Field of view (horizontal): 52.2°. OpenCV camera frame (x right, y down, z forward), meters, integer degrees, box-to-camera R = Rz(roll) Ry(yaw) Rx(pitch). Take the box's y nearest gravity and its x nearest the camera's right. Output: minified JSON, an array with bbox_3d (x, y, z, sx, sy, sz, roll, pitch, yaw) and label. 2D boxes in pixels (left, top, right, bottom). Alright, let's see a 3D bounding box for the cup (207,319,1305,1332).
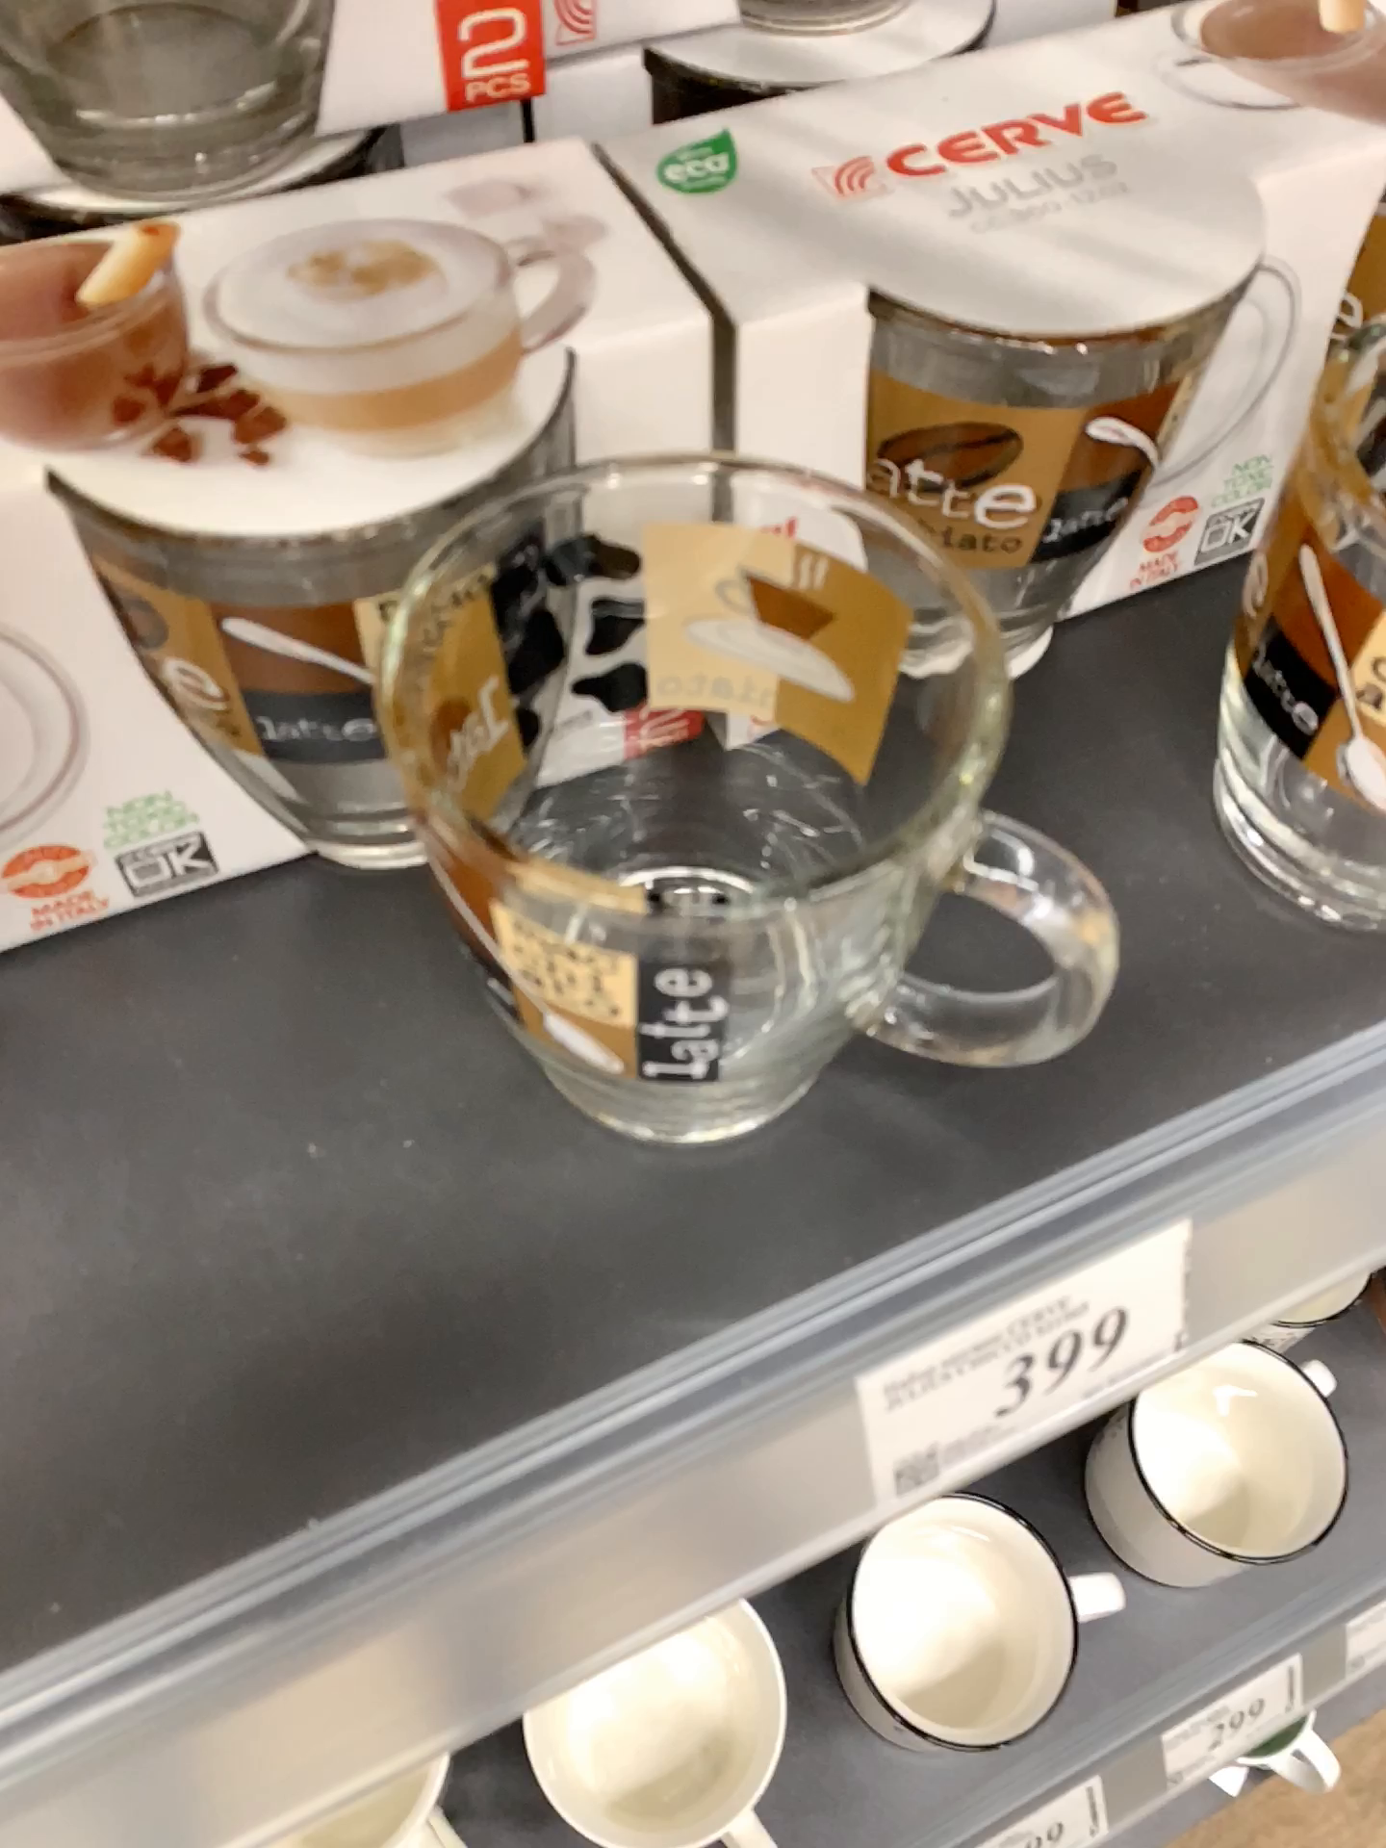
[{"bbox_3d":[0.009,-0.016,0.221,0.118,0.086,0.084,26,59,15],"label":"cup"}]
